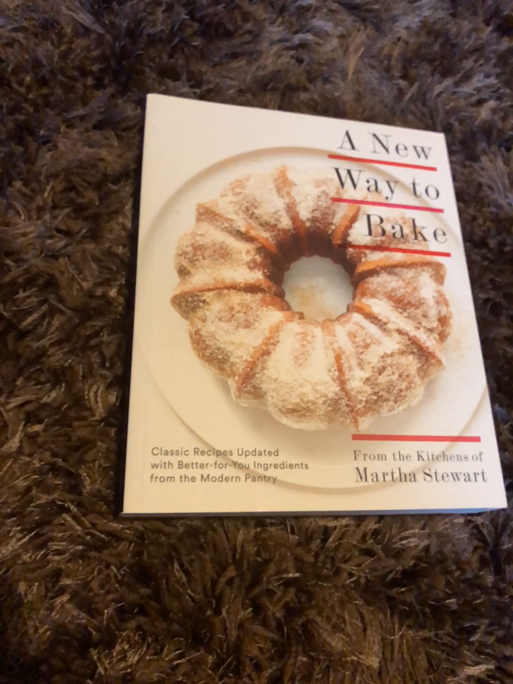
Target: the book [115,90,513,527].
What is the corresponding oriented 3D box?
[{"bbox_3d":[0.026,-0.022,0.319,0.192,0.040,0.229,2,69,-13],"label":"book"}]
